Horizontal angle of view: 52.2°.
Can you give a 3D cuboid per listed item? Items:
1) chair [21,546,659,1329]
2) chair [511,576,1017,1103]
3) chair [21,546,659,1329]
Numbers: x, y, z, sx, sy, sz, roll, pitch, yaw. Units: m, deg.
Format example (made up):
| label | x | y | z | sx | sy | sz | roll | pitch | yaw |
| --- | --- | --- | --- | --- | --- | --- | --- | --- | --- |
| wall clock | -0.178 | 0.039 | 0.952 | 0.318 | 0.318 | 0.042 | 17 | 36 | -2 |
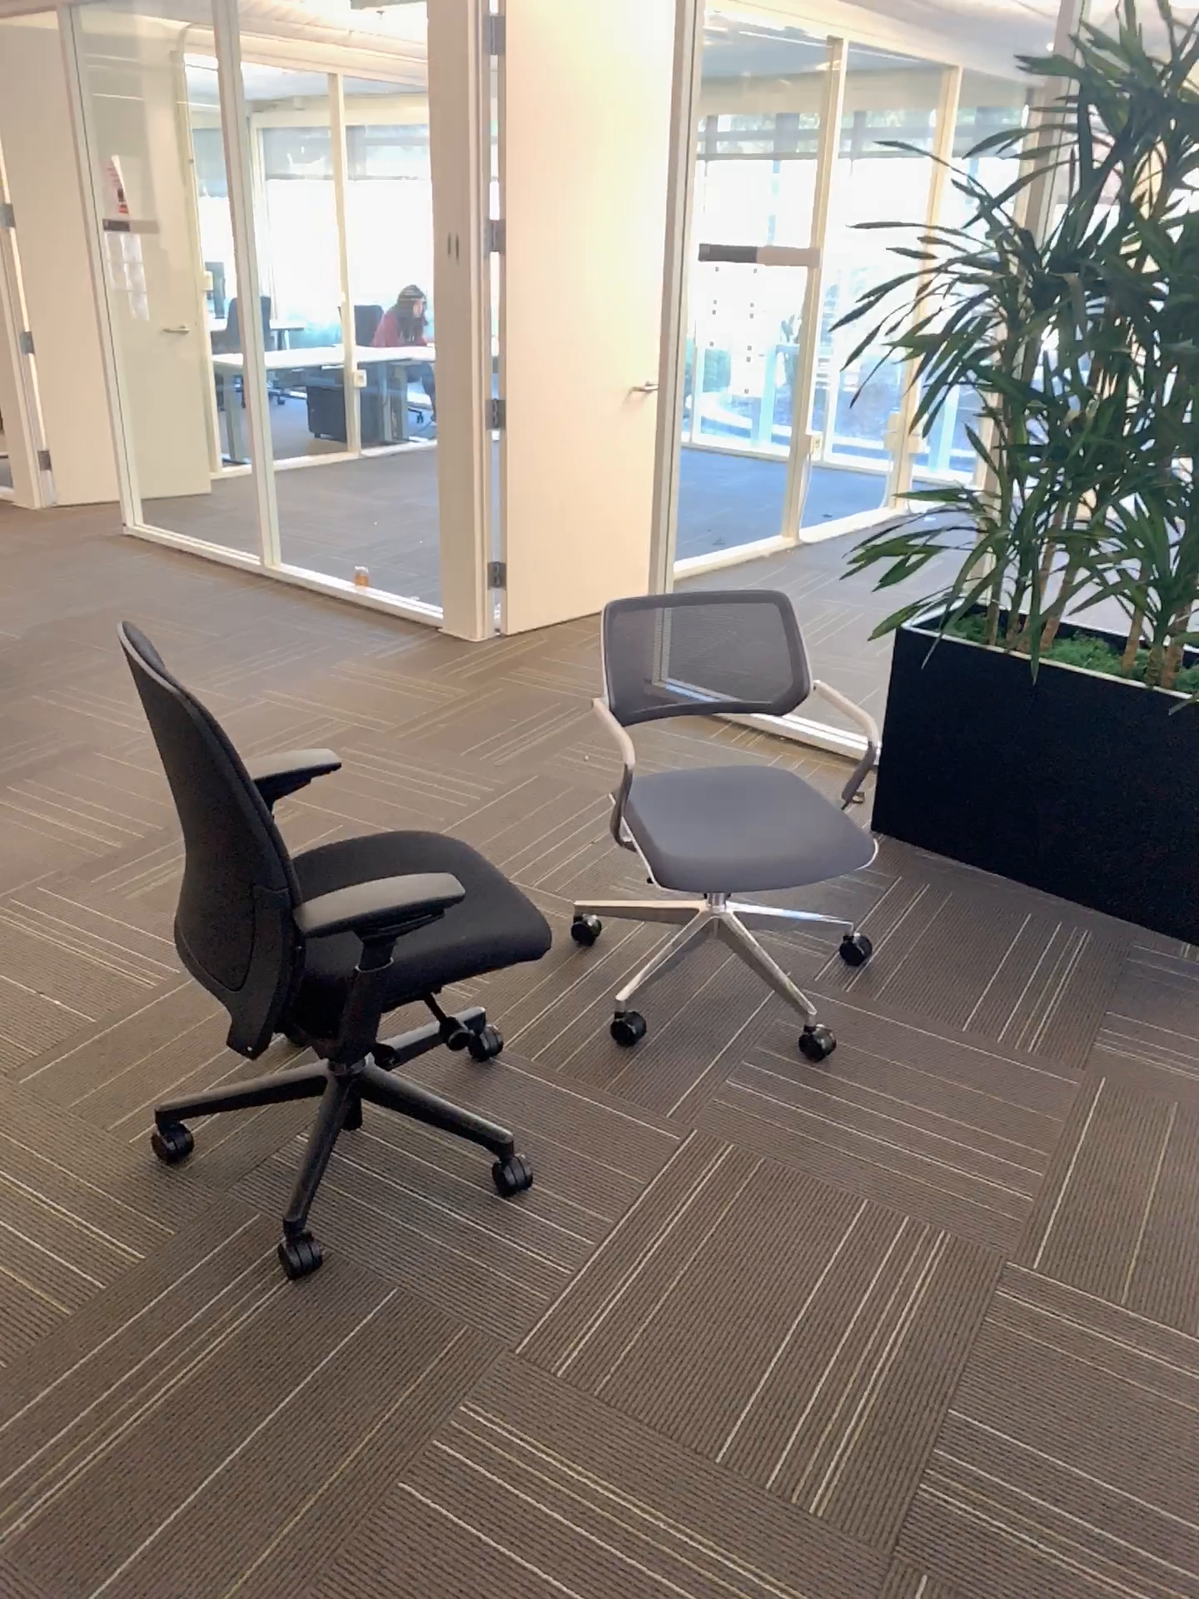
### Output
| label | x | y | z | sx | sy | sz | roll | pitch | yaw |
| --- | --- | --- | --- | --- | --- | --- | --- | --- | --- |
| chair | -0.453 | 0.142 | 2.122 | 0.711 | 0.915 | 0.824 | -15 | 30 | -33 |
| chair | 0.280 | 0.024 | 2.613 | 0.730 | 0.776 | 0.754 | -8 | 26 | -21 |
| chair | -0.453 | 0.142 | 2.122 | 0.711 | 0.915 | 0.824 | -15 | 30 | -33 |
